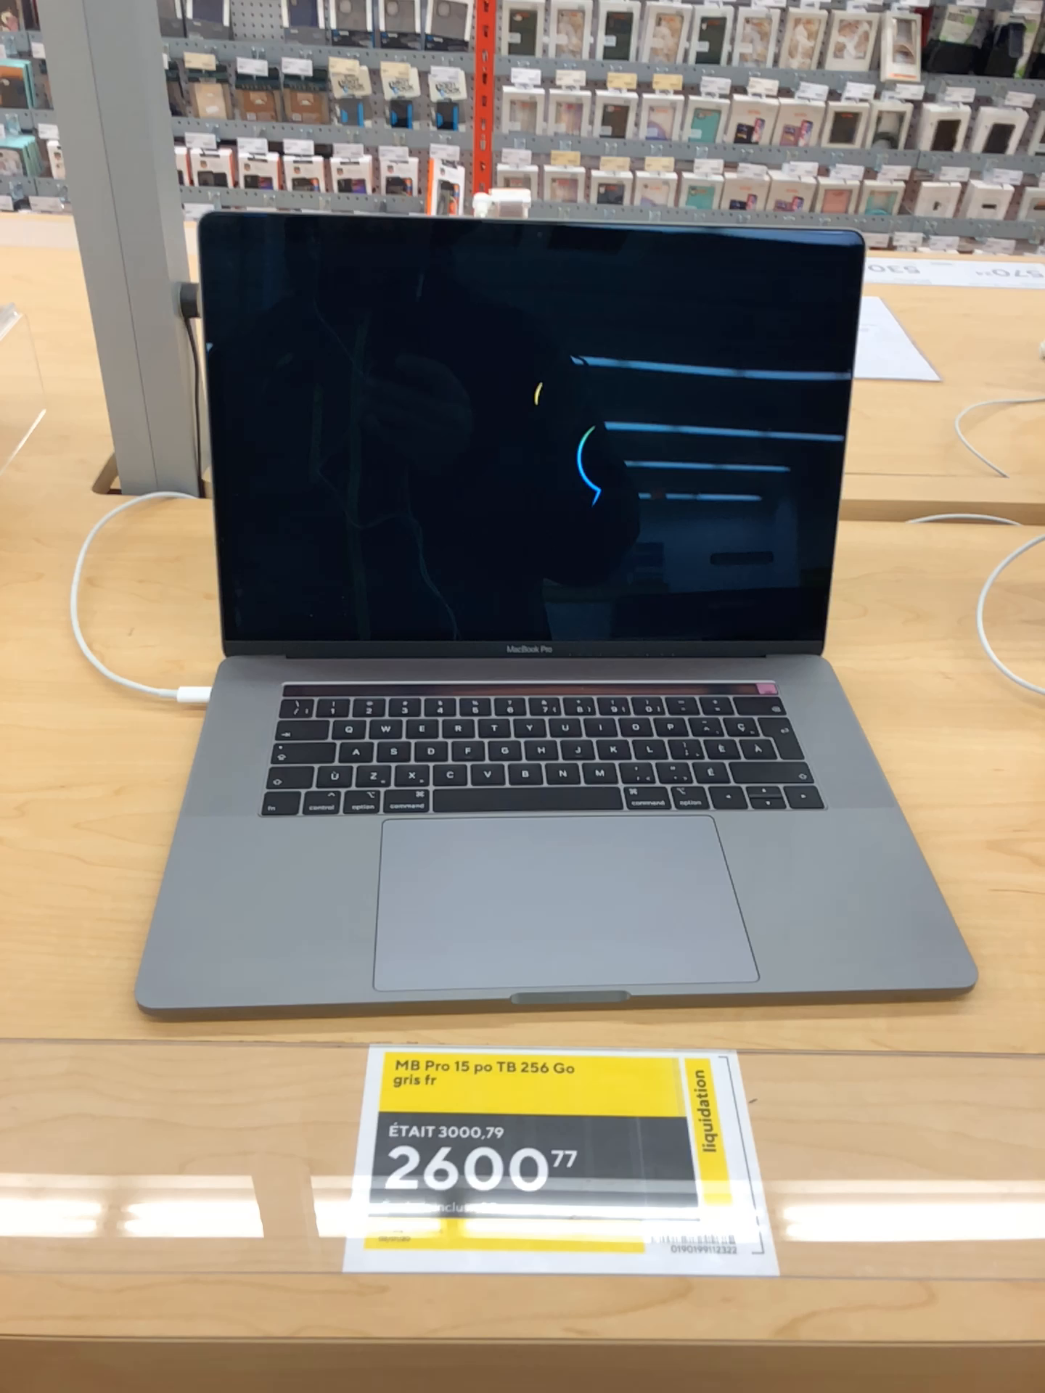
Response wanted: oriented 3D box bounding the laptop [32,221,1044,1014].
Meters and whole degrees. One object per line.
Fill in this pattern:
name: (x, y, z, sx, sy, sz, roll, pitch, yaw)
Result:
laptop: (0.017, -0.056, 0.514, 0.329, 0.212, 0.299, 0, 37, -5)
